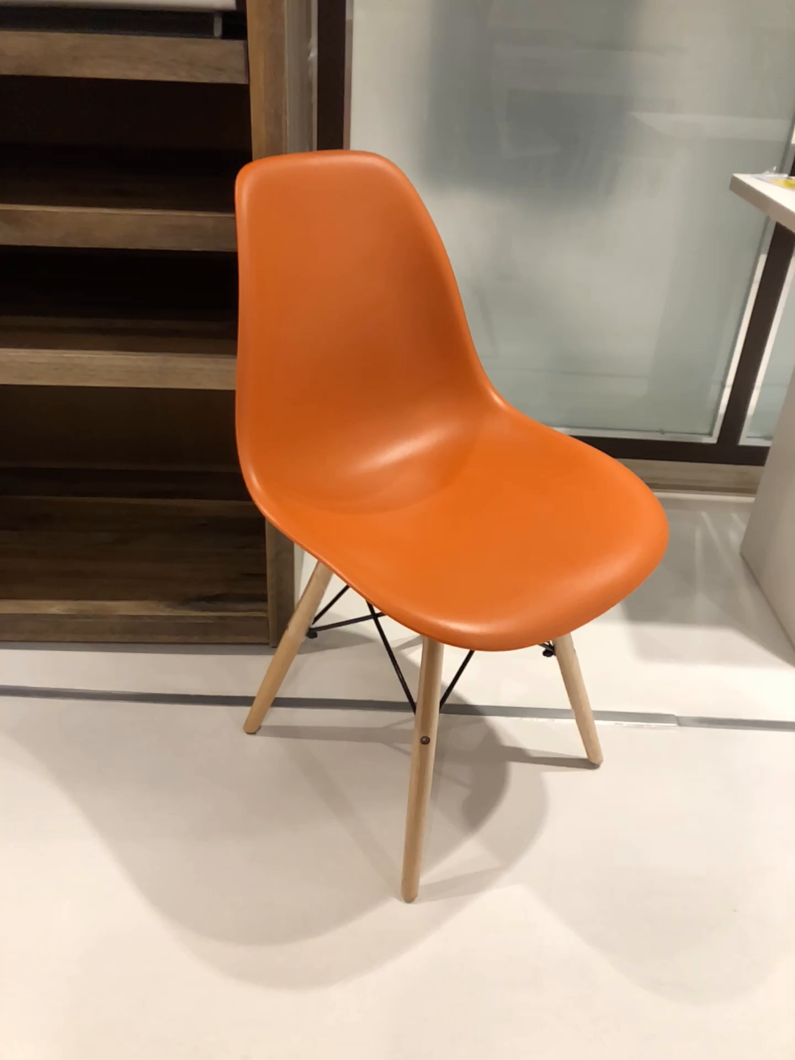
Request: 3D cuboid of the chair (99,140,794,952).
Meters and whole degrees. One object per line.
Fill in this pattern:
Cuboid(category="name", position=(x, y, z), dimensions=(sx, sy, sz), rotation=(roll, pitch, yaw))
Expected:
Cuboid(category="chair", position=(0.023, -0.041, 1.122), dimensions=(0.492, 0.744, 0.582), rotation=(-22, 40, -35))
